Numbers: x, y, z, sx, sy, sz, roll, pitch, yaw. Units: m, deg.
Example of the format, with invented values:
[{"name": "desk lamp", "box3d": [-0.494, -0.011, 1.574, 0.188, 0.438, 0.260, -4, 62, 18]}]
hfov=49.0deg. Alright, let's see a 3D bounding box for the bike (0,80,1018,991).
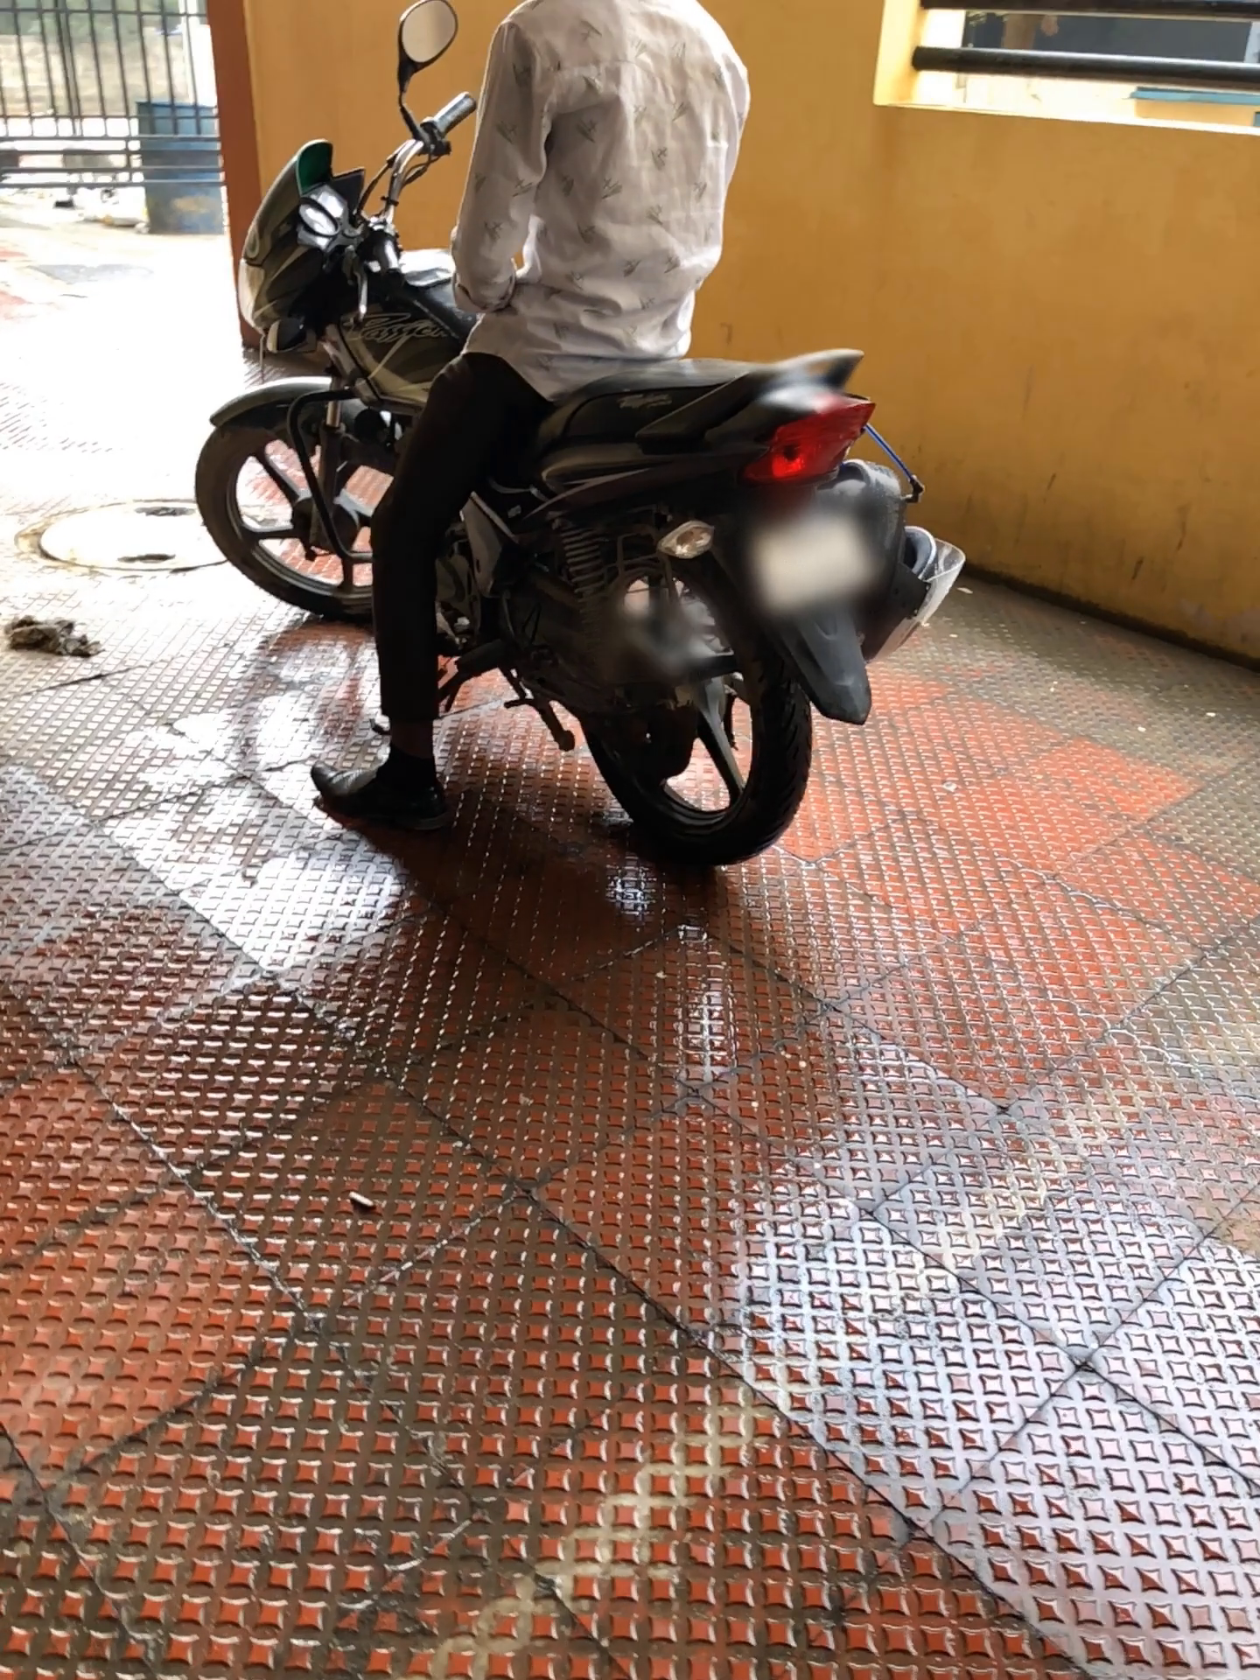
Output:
[{"name": "bike", "box3d": [-0.437, -0.746, 2.680, 0.813, 1.184, 1.878, -25, 40, -37]}]
